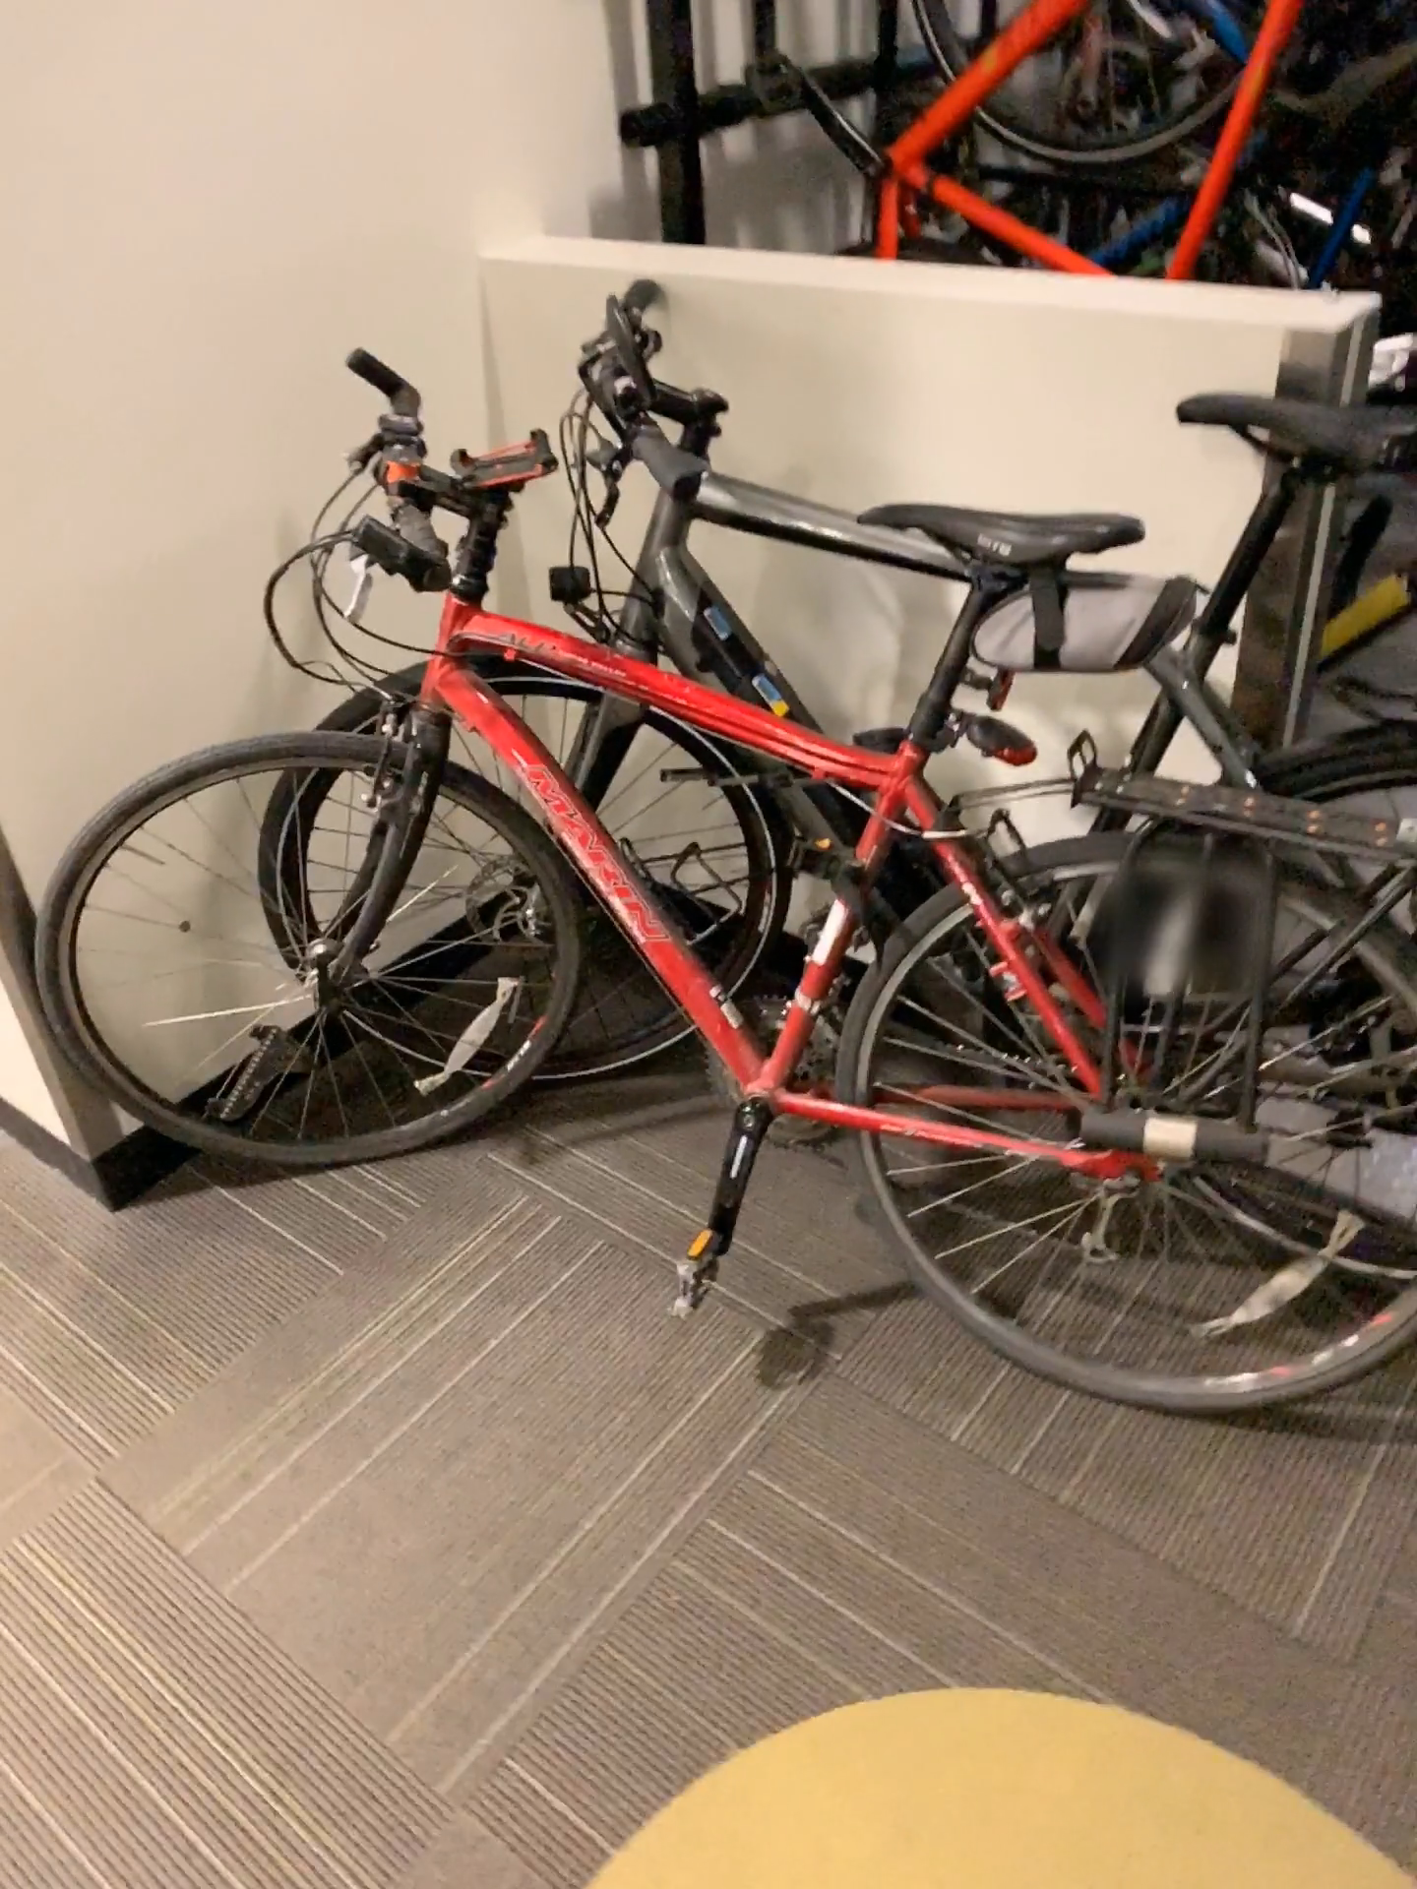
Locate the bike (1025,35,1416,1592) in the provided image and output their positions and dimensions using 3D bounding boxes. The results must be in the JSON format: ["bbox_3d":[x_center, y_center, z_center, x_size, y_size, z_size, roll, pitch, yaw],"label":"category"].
[{"bbox_3d":[0.775,-0.108,1.492,0.727,1.149,0.695,11,38,13],"label":"bike"}]

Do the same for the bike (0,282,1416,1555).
[{"bbox_3d":[0.017,-0.079,1.562,1.613,0.928,0.605,9,37,13],"label":"bike"}]
